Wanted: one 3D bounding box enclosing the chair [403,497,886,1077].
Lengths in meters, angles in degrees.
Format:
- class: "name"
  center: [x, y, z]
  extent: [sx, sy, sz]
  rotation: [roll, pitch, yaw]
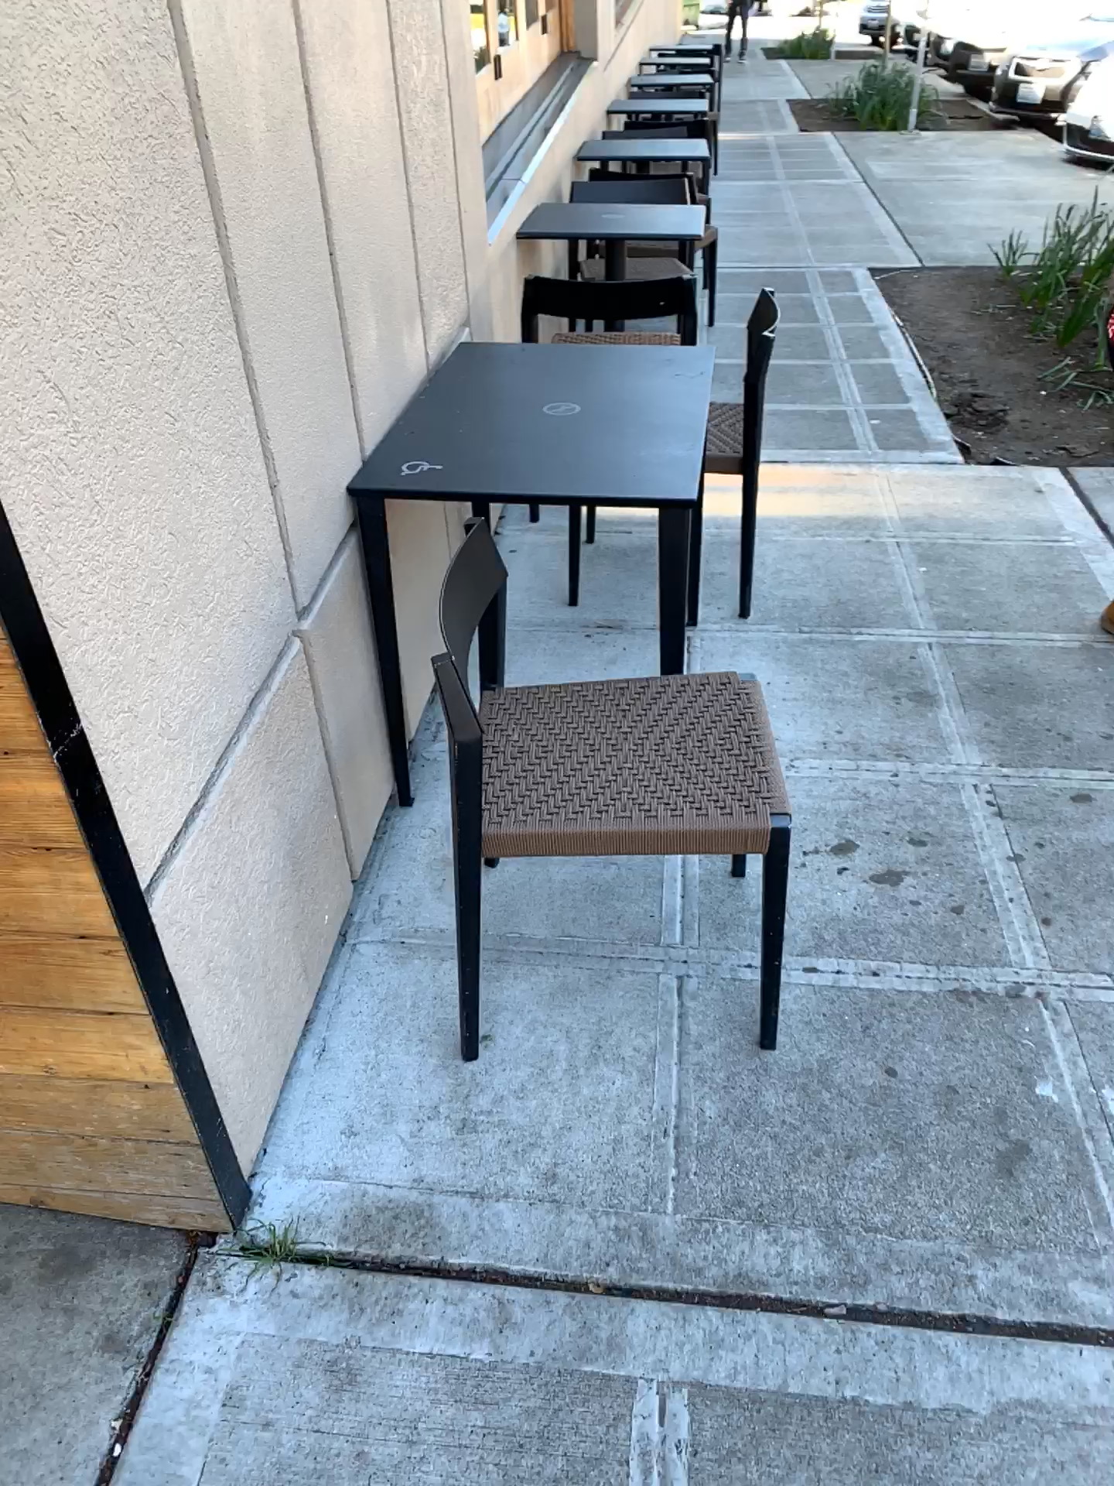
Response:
- class: "chair"
  center: [0.120, 0.065, 1.721]
  extent: [0.550, 0.666, 0.553]
  rotation: [-1, 37, 3]
